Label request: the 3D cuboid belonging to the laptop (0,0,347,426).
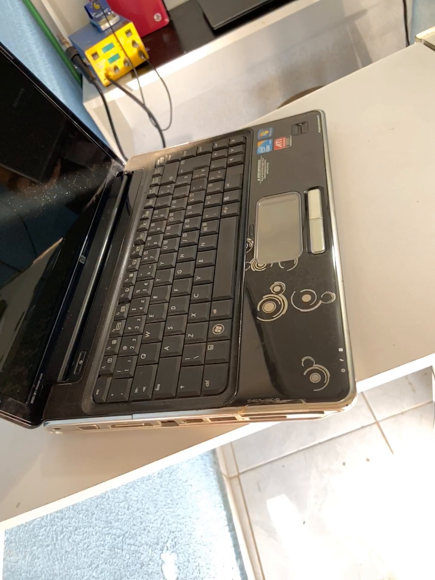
[{"bbox_3d":[-0.089,-0.101,0.341,0.301,0.211,0.323,-9,50,19],"label":"laptop"}]
